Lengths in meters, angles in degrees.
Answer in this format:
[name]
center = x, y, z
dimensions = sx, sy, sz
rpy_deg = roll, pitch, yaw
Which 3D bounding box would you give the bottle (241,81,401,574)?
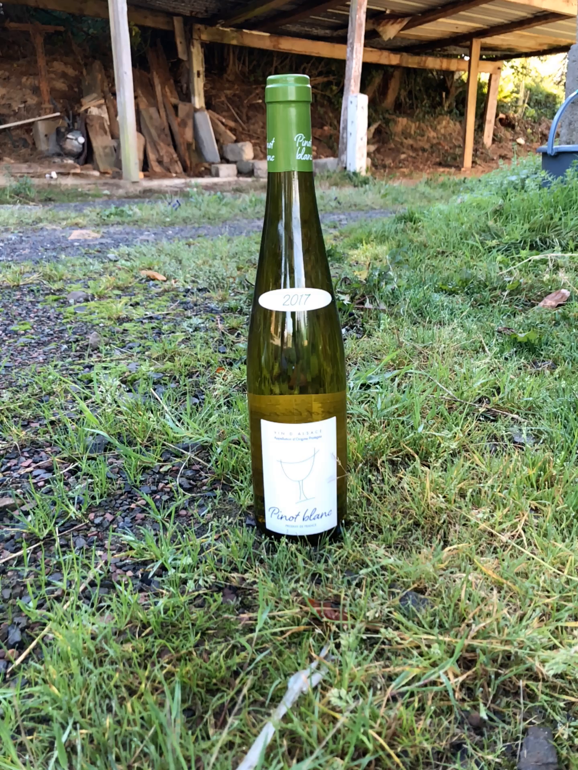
[bottle]
center = 0.020, -0.034, 0.450
dimensions = 0.090, 0.319, 0.090
rpy_deg = -2, 18, 1
